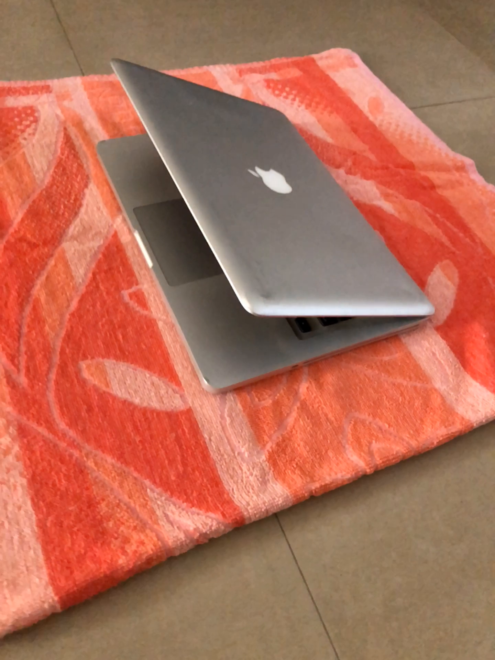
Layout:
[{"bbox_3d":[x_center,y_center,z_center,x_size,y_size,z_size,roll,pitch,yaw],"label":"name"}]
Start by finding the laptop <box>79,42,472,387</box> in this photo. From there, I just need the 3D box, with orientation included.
[{"bbox_3d":[0.007,-0.130,0.500,0.223,0.086,0.311,-17,60,-22],"label":"laptop"}]
